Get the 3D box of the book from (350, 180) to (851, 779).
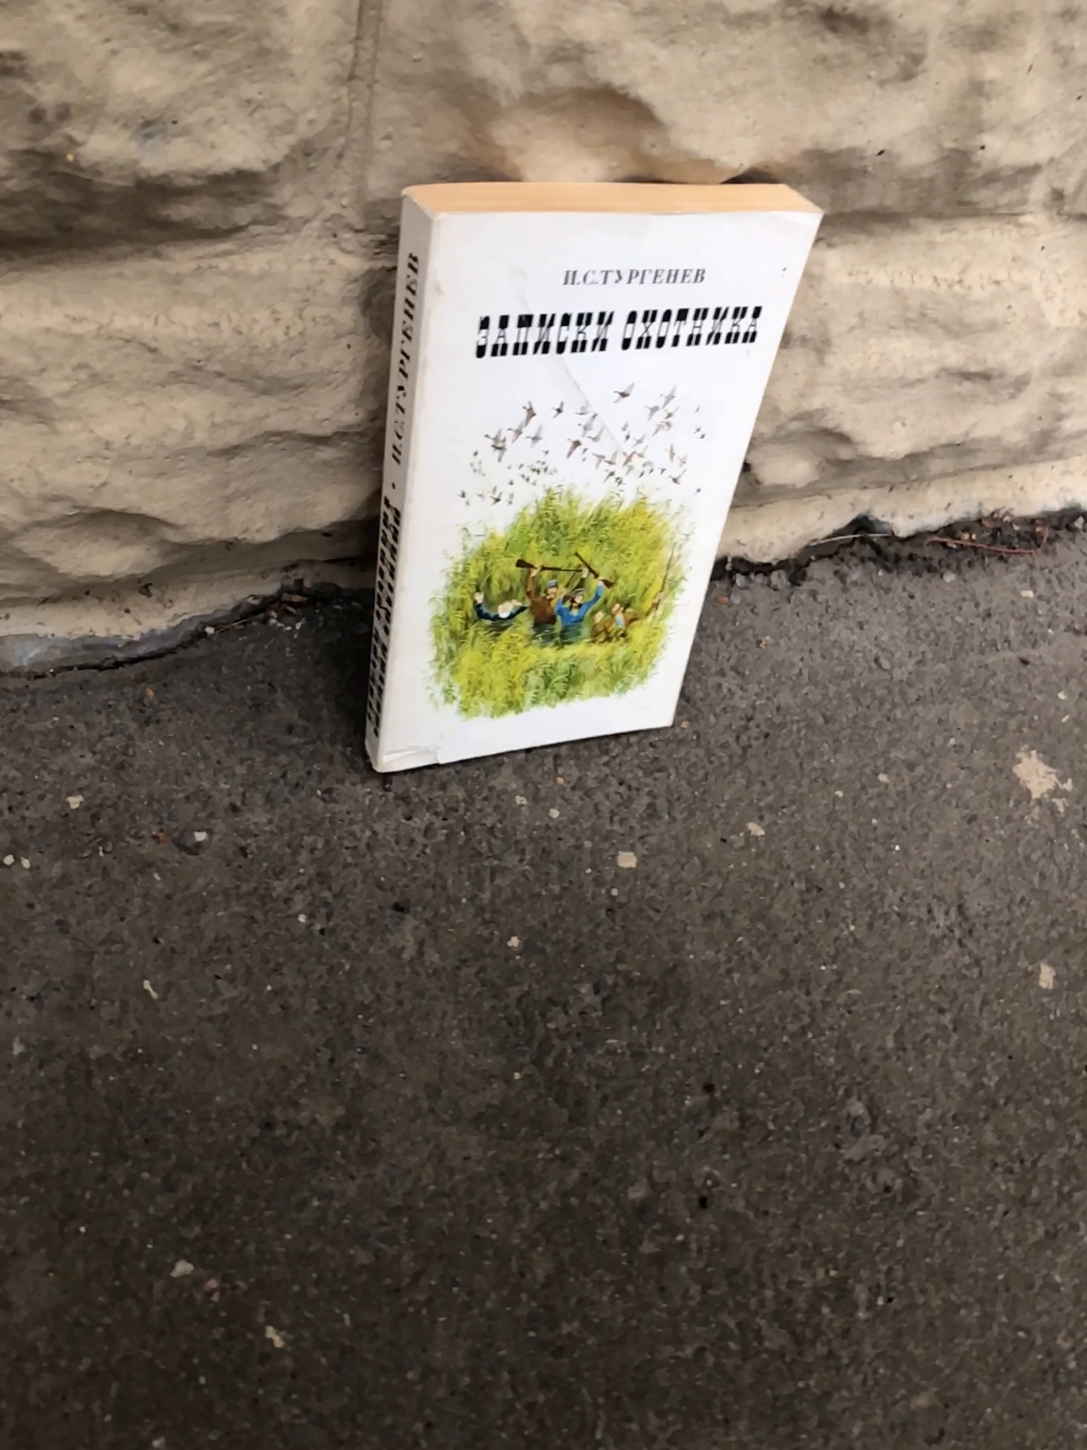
[{"bbox_3d":[0.009,-0.074,0.388,0.137,0.183,0.032,-10,42,-22],"label":"book"}]
